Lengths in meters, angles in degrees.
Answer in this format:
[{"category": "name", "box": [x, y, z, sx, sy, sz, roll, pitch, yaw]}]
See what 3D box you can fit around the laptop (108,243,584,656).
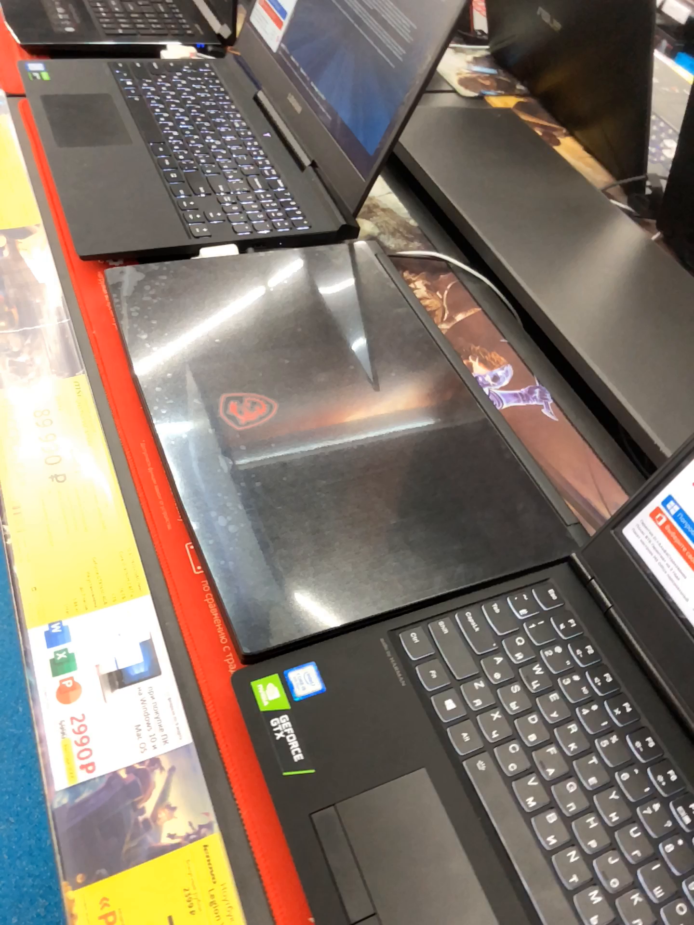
[{"category": "laptop", "box": [-0.018, -0.049, 0.563, 0.239, 0.002, 0.354, -12, 52, -22]}]
